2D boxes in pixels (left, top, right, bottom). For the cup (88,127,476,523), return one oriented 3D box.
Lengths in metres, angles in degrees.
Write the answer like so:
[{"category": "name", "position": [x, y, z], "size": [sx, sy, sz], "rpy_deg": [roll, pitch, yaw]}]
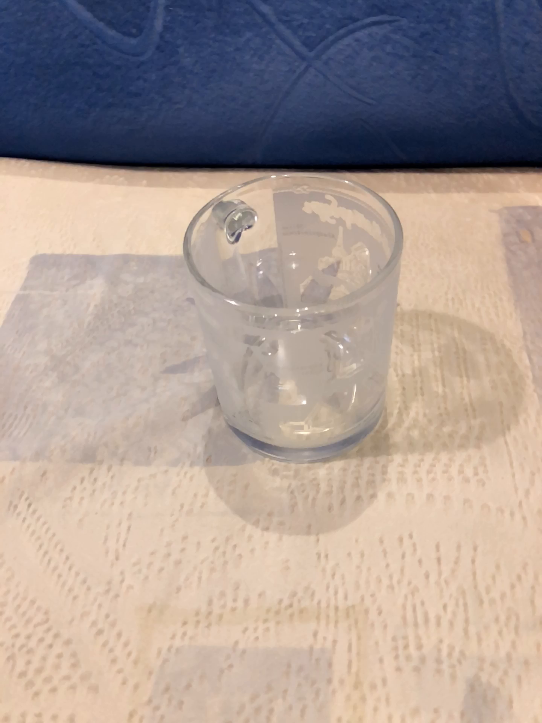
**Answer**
[{"category": "cup", "position": [0.000, -0.021, 0.248], "size": [0.090, 0.079, 0.121], "rpy_deg": [-28, 53, -18]}]
